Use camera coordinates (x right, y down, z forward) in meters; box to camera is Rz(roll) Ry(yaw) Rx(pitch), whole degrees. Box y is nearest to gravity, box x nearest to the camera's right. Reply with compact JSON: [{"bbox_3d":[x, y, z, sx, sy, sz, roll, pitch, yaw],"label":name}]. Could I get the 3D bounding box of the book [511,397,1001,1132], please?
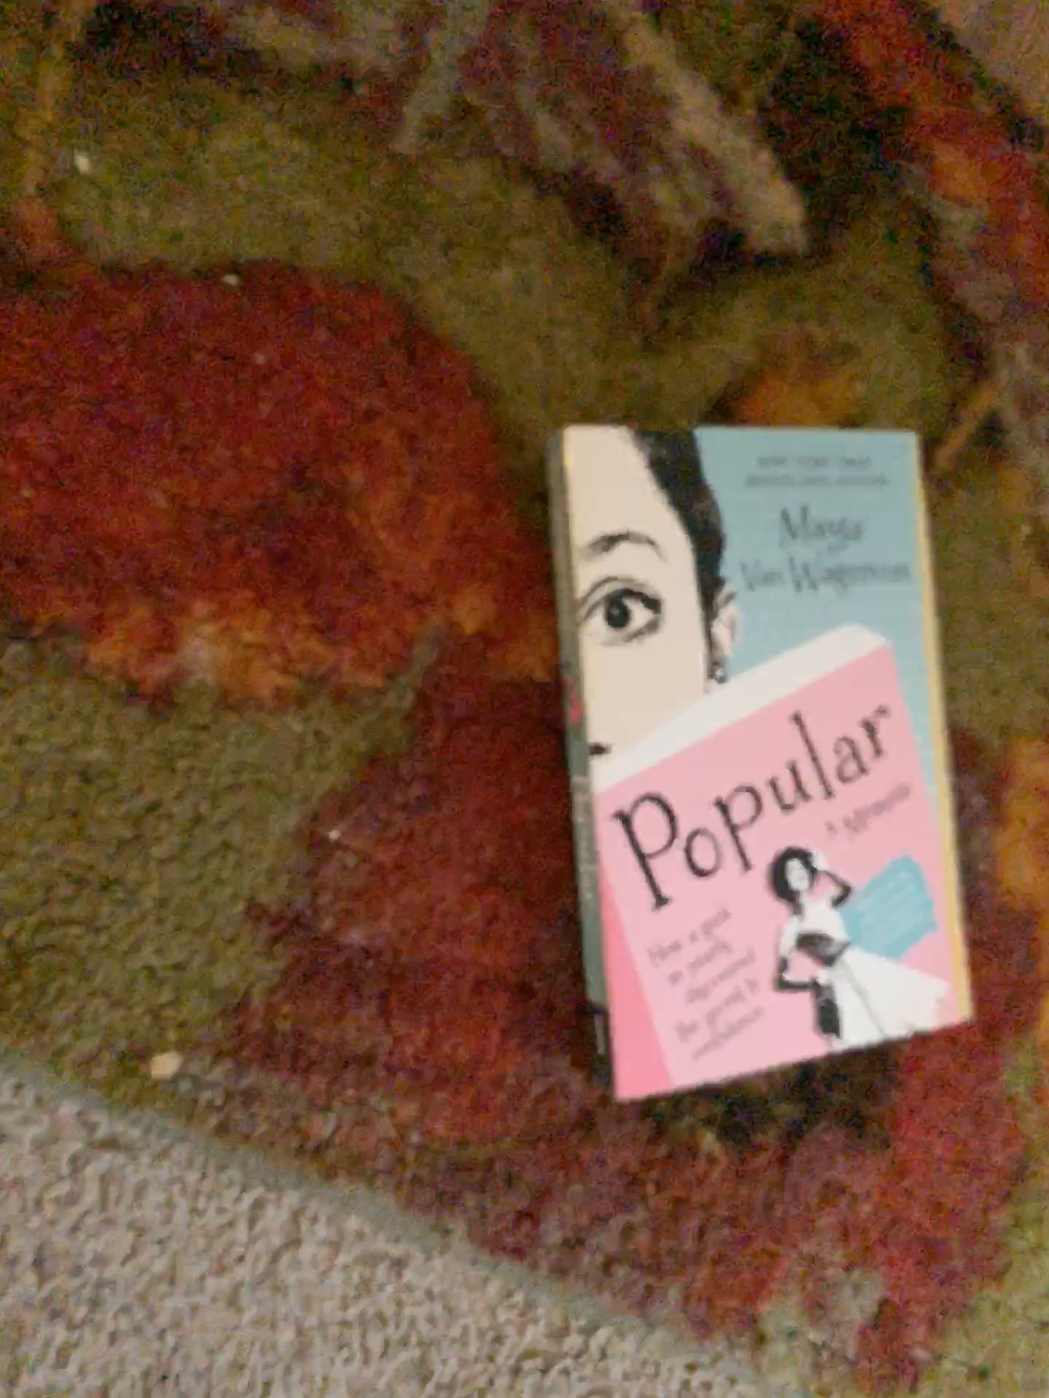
[{"bbox_3d":[0.081,0.014,0.372,0.150,0.030,0.220,-5,89,-22],"label":"book"}]
